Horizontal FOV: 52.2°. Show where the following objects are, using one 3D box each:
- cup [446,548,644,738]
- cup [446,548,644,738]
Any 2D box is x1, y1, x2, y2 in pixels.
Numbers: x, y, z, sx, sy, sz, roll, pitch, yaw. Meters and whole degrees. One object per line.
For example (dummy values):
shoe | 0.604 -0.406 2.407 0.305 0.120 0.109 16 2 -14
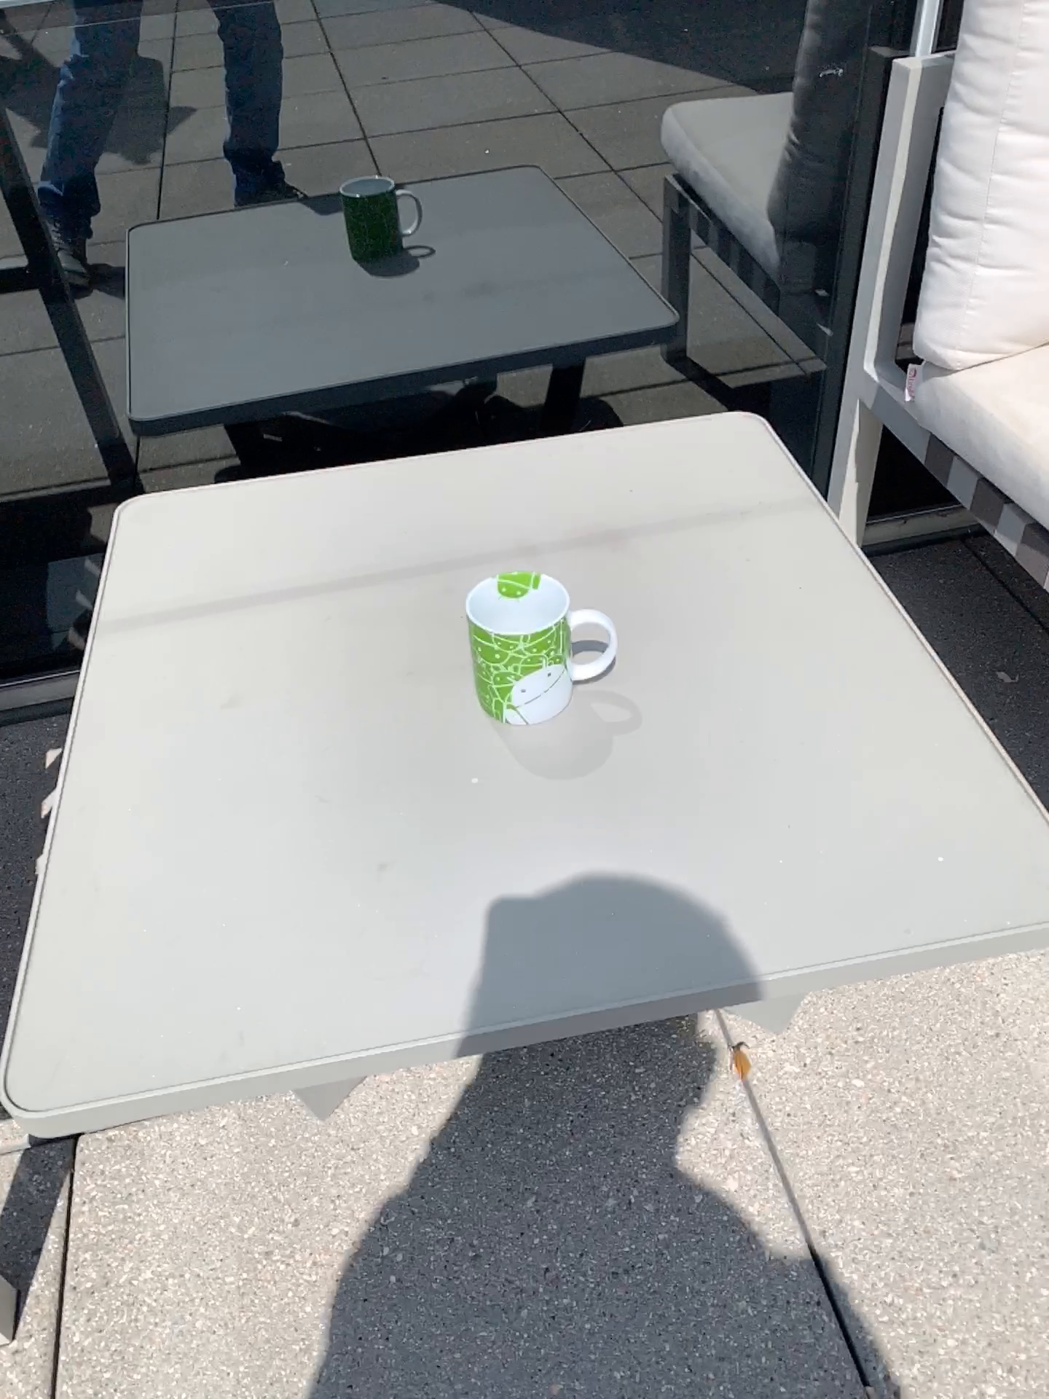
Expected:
cup | 0.017 -0.045 0.828 0.130 0.090 0.080 -14 44 -9
cup | 0.017 -0.045 0.828 0.130 0.090 0.080 -14 44 -9
